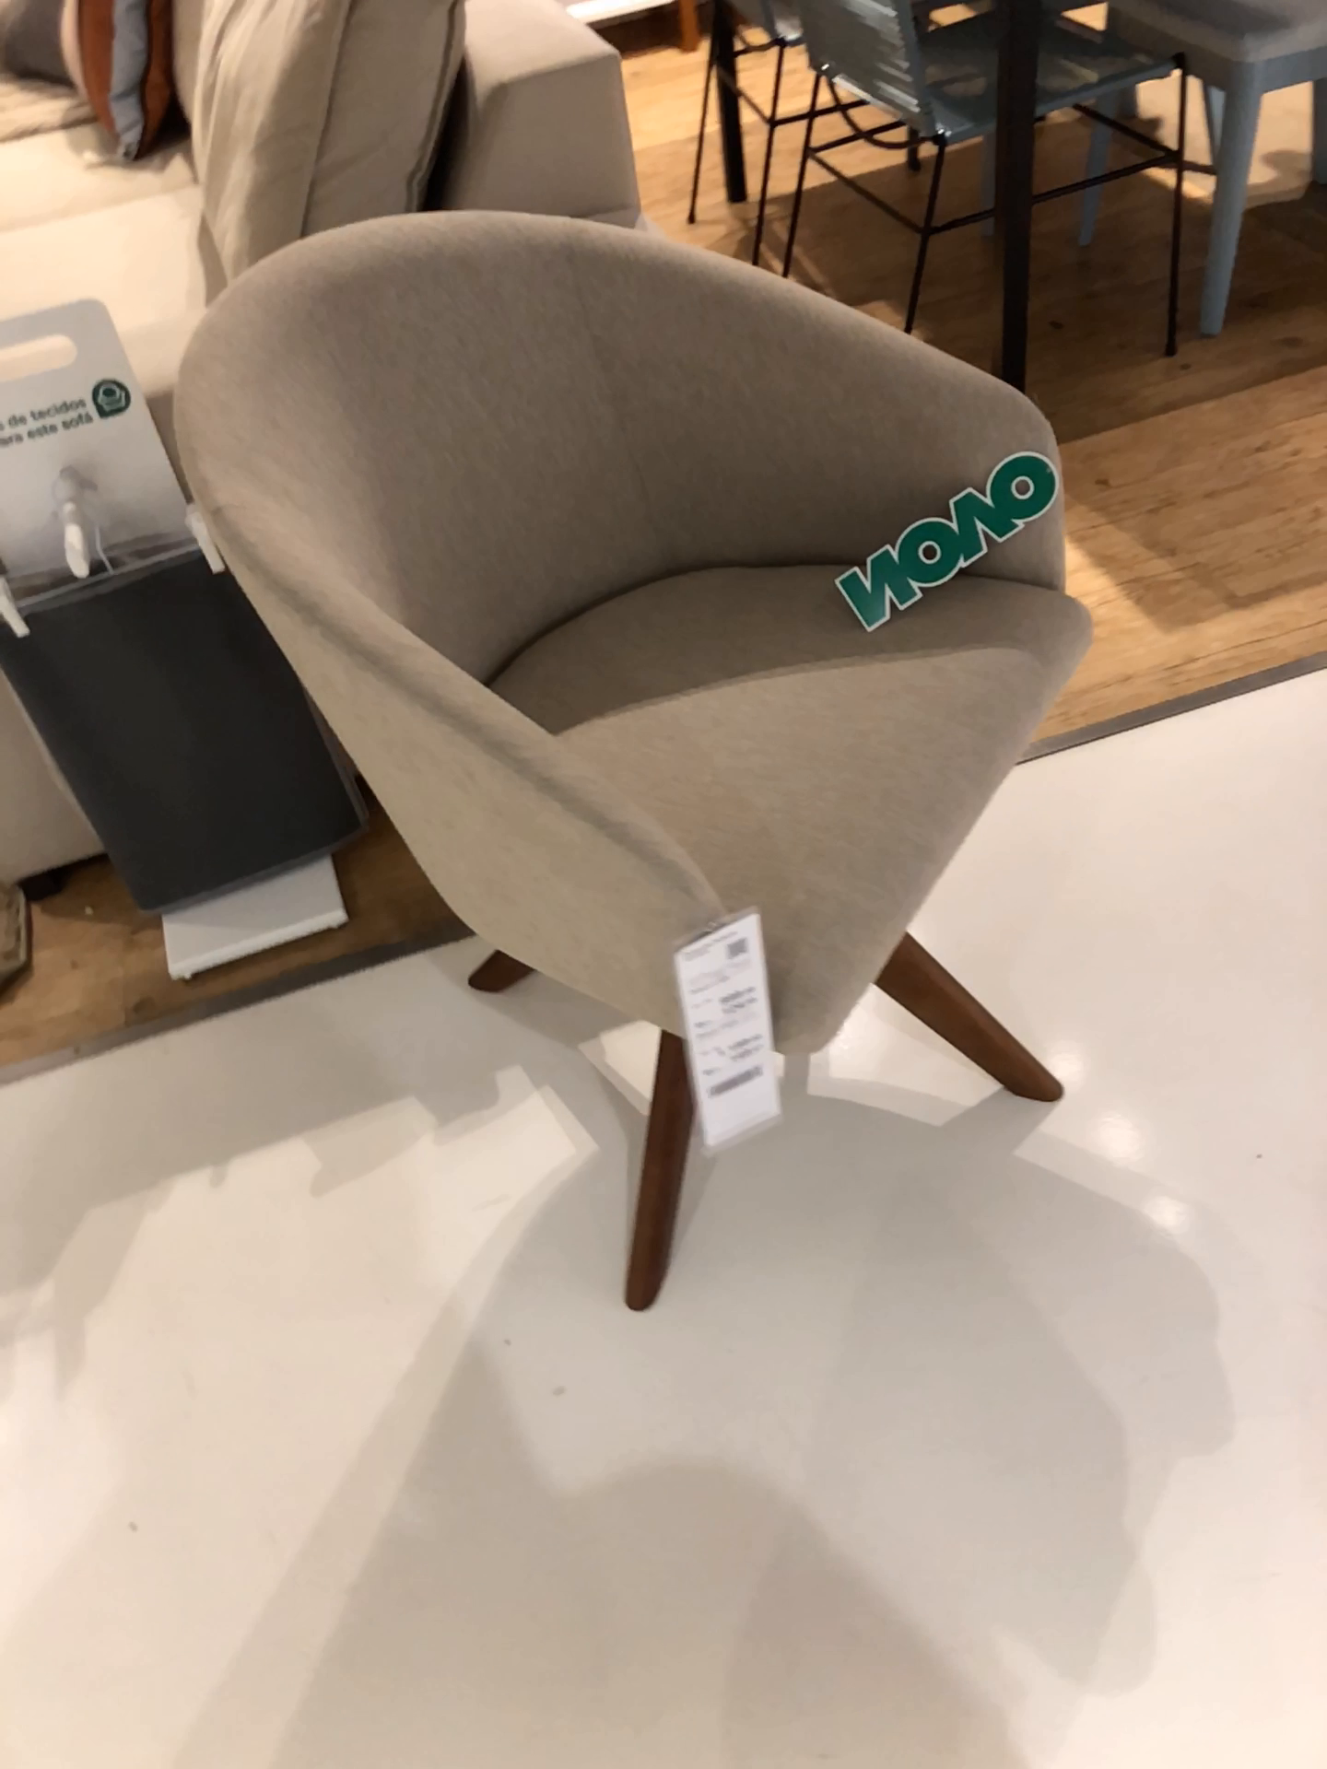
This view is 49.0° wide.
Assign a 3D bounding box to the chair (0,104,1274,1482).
[{"bbox_3d":[0.006,-0.118,1.278,0.712,0.794,0.694,19,52,27],"label":"chair"}]
